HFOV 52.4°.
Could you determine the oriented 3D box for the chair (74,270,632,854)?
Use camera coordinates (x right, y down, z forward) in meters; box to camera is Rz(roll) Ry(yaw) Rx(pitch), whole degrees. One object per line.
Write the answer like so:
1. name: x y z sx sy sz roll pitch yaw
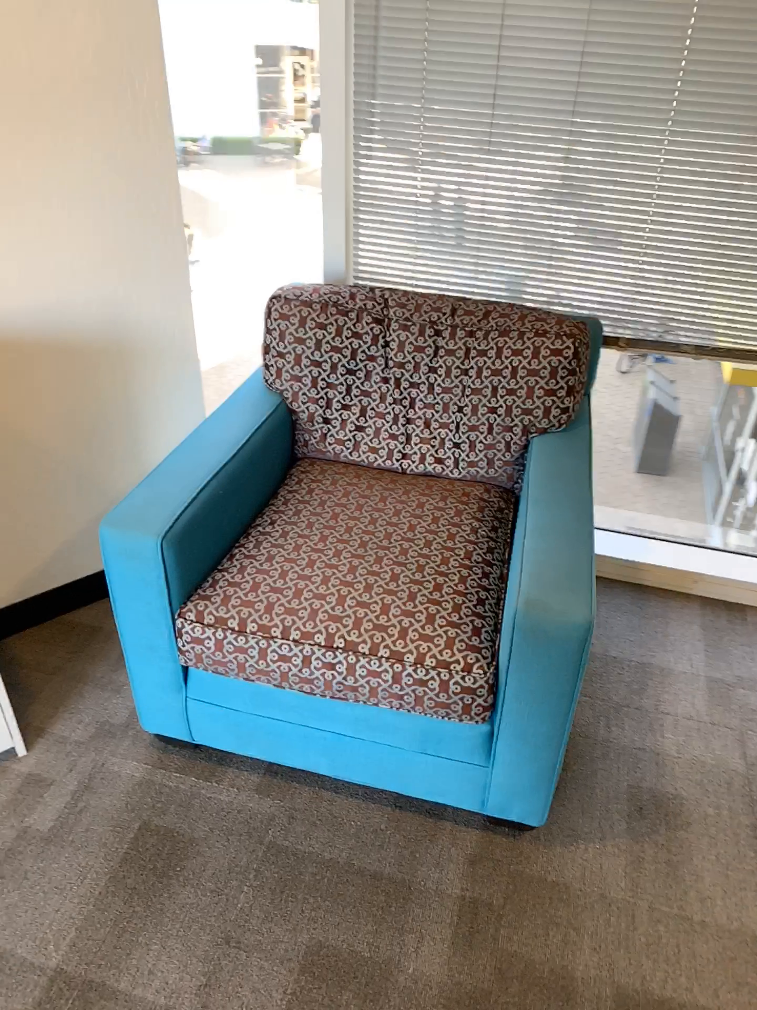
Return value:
1. chair: 0.037 0.044 1.808 0.911 0.825 0.925 10 35 12
